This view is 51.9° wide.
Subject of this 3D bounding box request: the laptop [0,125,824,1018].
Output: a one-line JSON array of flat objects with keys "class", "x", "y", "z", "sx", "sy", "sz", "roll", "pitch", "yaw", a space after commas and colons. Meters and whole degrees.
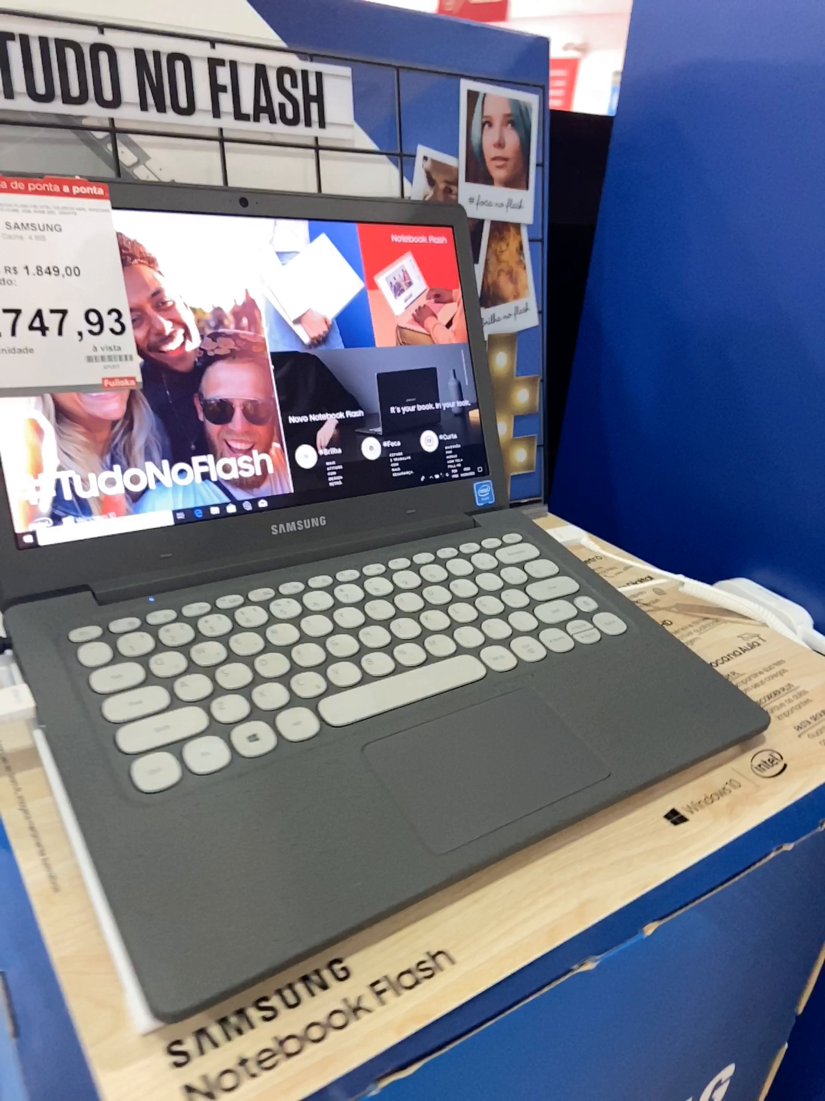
[{"class": "laptop", "x": -0.030, "y": -0.059, "z": 0.426, "sx": 0.323, "sy": 0.181, "sz": 0.345, "roll": -12, "pitch": 37, "yaw": -33}]
